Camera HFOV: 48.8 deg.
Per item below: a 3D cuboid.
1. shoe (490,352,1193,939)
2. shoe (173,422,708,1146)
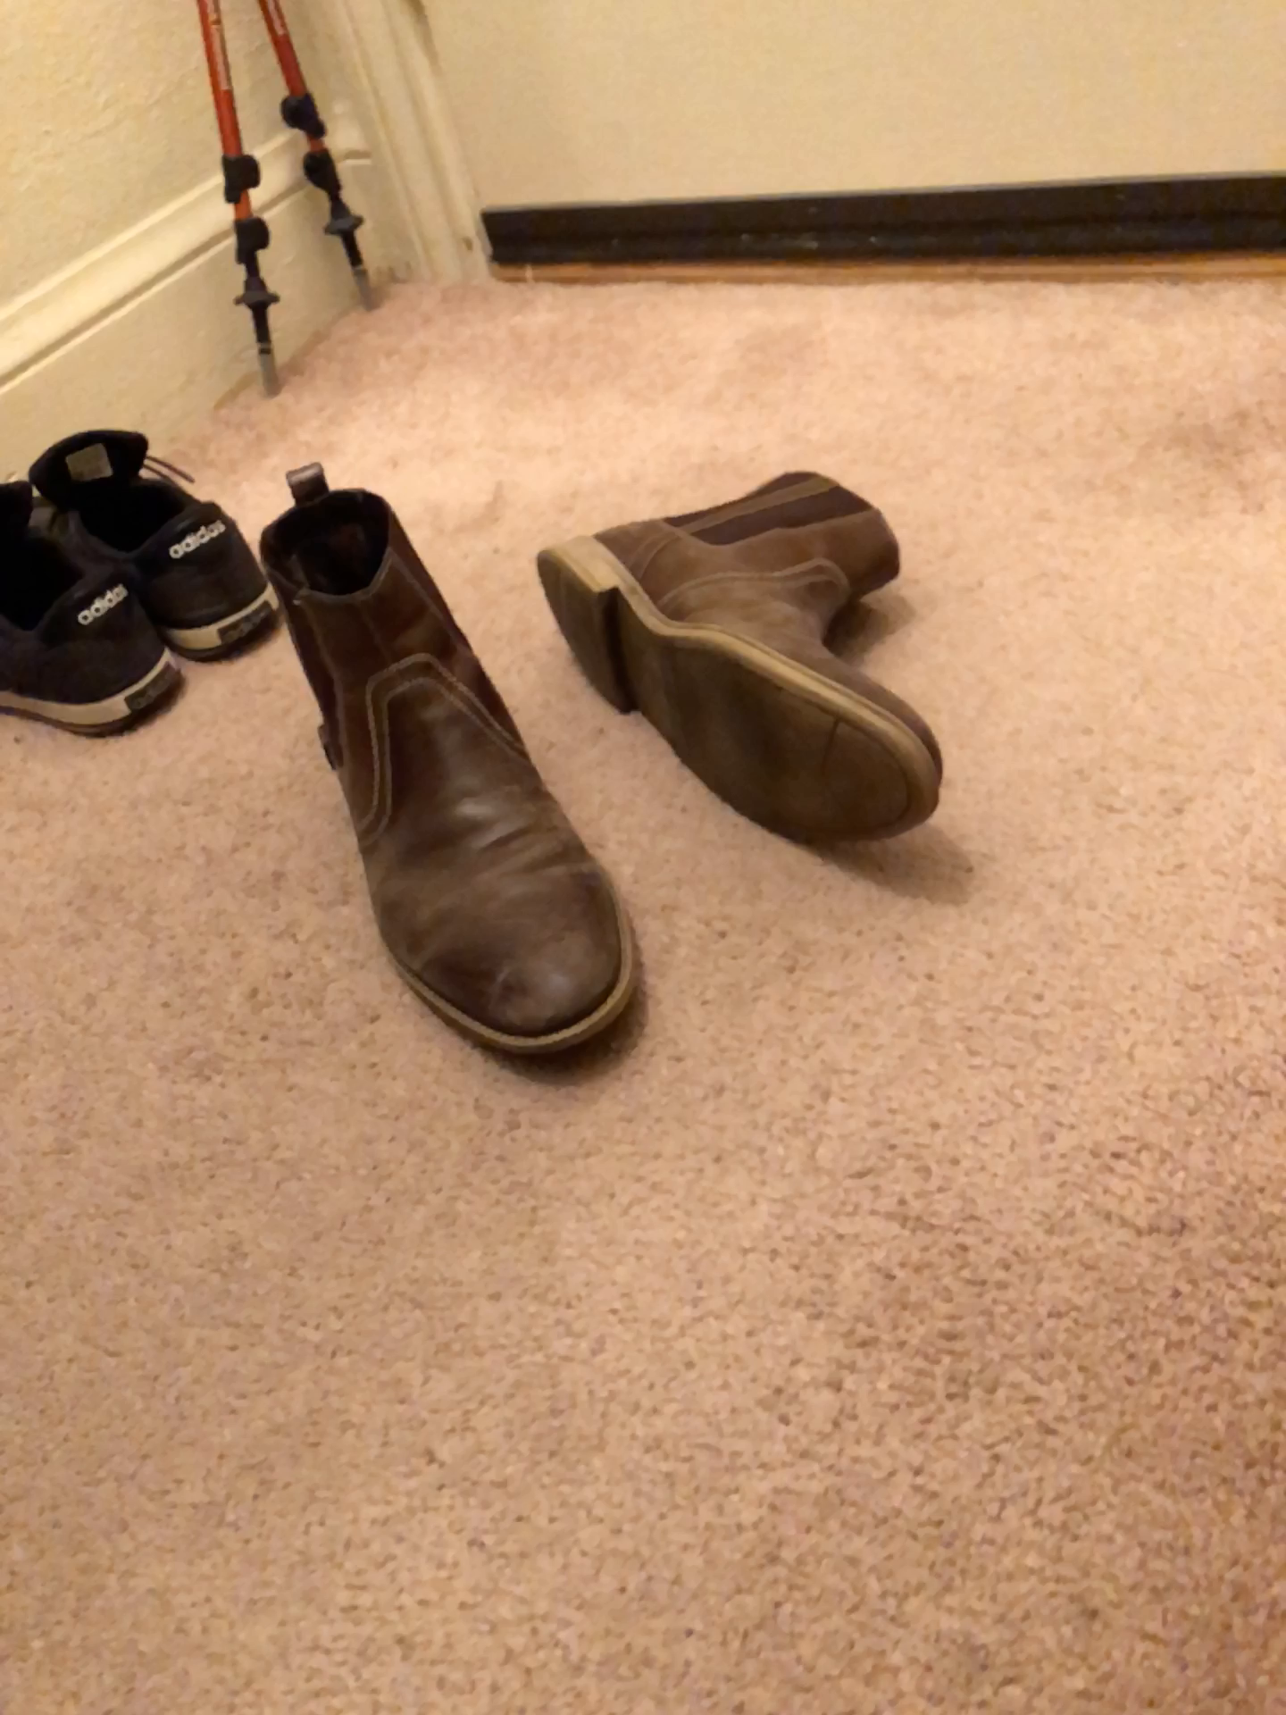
[{"bbox_3d":[0.090,-0.129,0.730,0.186,0.115,0.315,-33,44,-15],"label":"shoe"},{"bbox_3d":[-0.104,-0.051,0.667,0.115,0.175,0.309,-26,43,-9],"label":"shoe"}]
